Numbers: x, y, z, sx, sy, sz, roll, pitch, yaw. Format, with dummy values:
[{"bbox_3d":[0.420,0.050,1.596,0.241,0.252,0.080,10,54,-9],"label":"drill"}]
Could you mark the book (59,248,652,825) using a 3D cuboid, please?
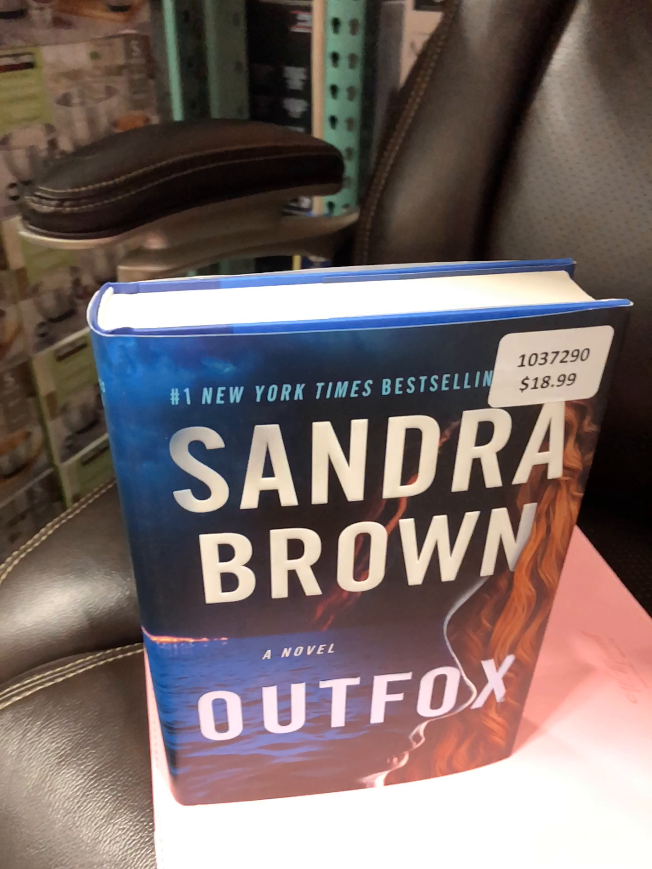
[{"bbox_3d":[0.011,0.052,0.273,0.167,0.228,0.048,-4,36,-9],"label":"book"}]
